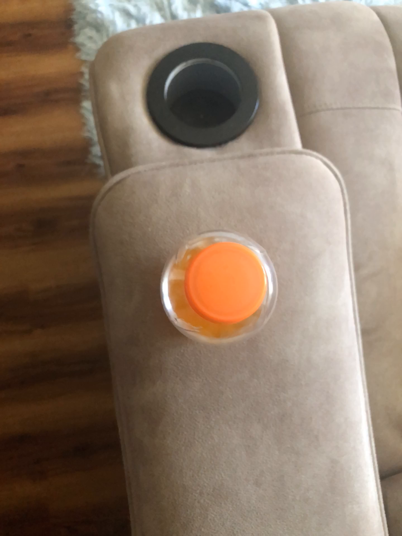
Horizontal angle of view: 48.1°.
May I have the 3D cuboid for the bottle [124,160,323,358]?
[{"bbox_3d":[0.009,0.006,0.269,0.070,0.150,0.070,0,82,-2],"label":"bottle"}]
